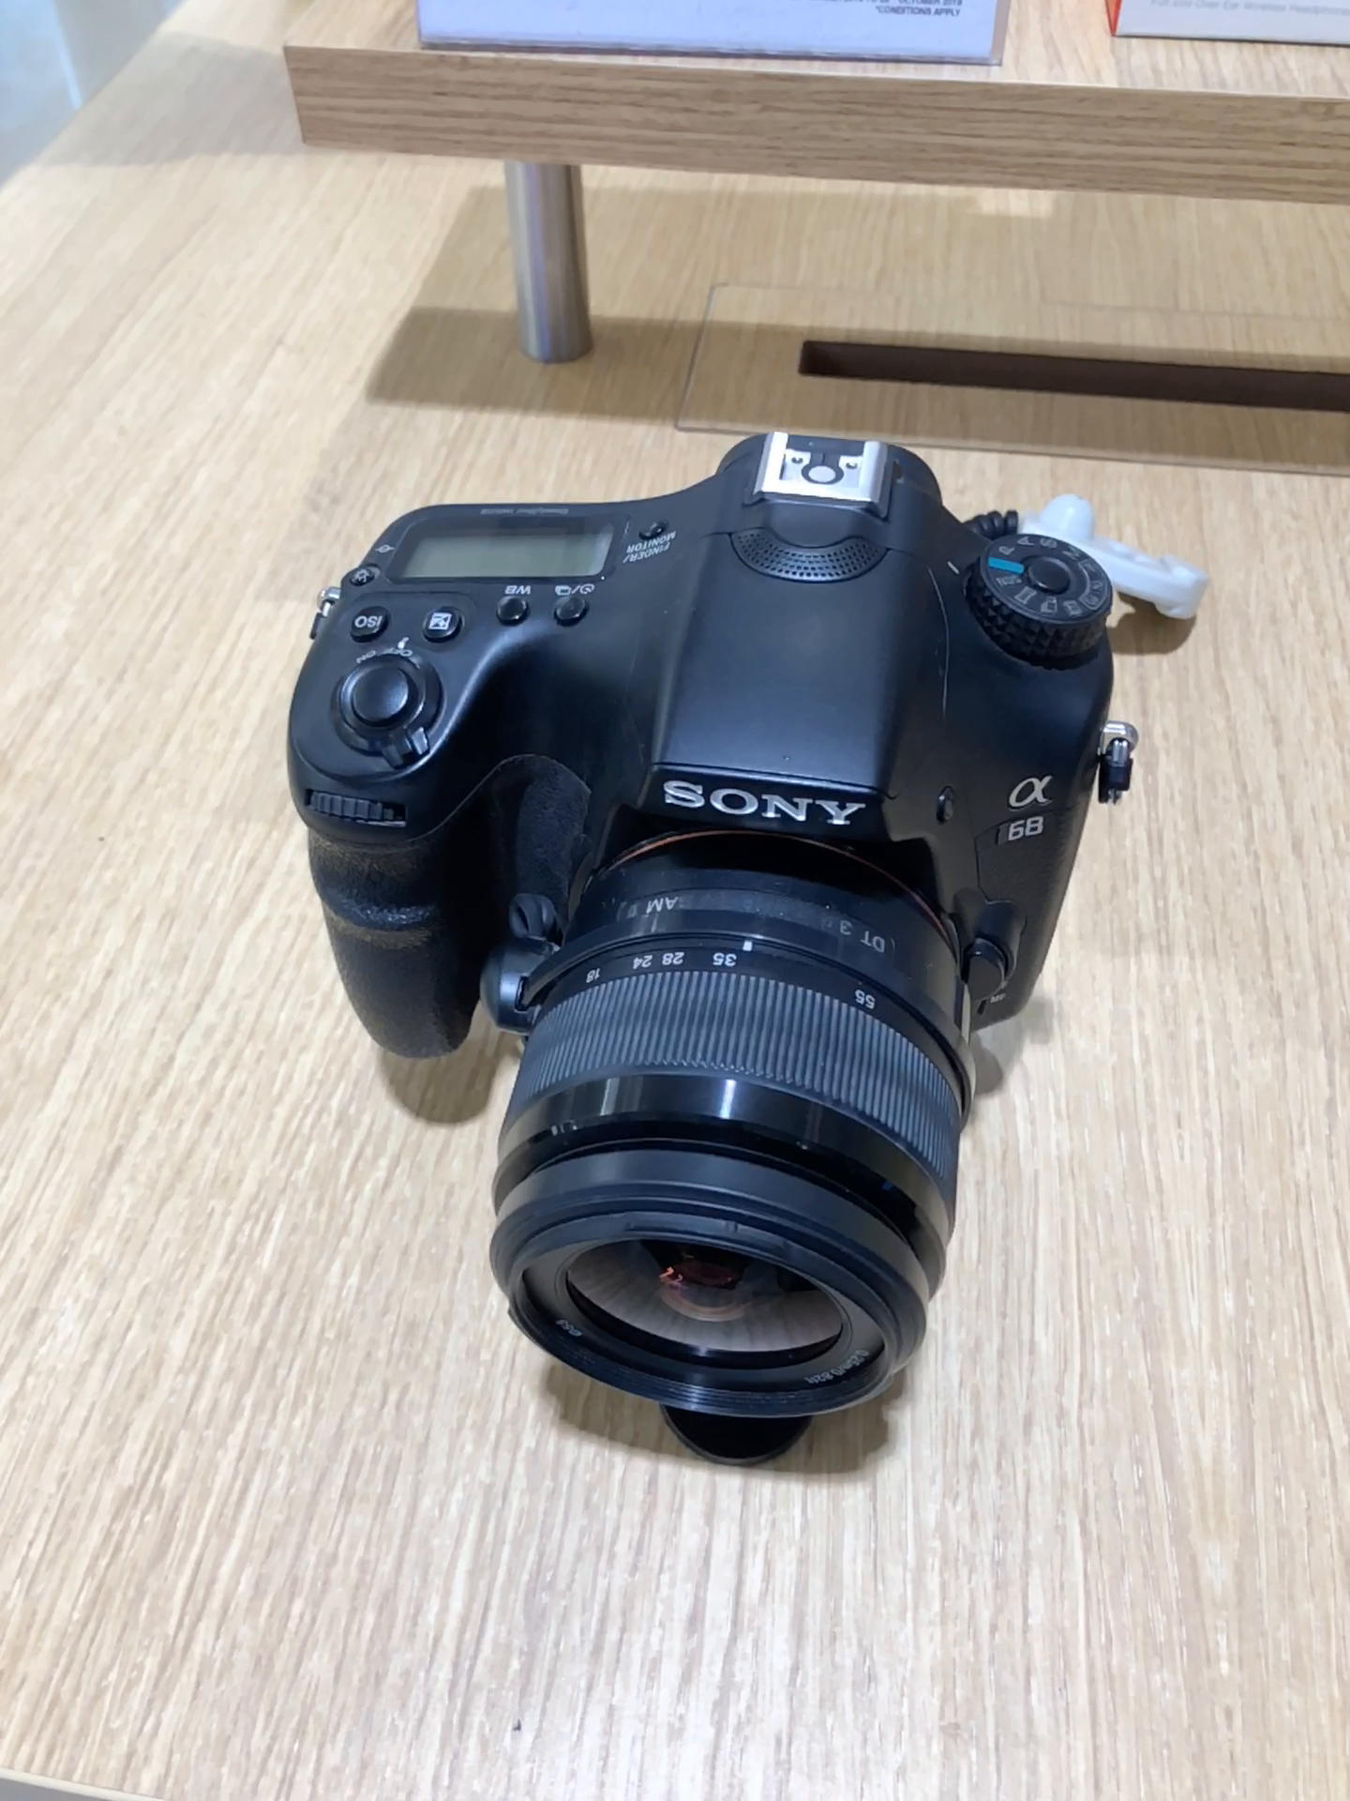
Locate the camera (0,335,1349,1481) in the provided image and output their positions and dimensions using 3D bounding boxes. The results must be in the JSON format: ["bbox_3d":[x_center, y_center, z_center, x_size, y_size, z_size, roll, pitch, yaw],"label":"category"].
[{"bbox_3d":[0.004,-0.007,0.214,0.140,0.080,0.131,5,49,7],"label":"camera"}]
